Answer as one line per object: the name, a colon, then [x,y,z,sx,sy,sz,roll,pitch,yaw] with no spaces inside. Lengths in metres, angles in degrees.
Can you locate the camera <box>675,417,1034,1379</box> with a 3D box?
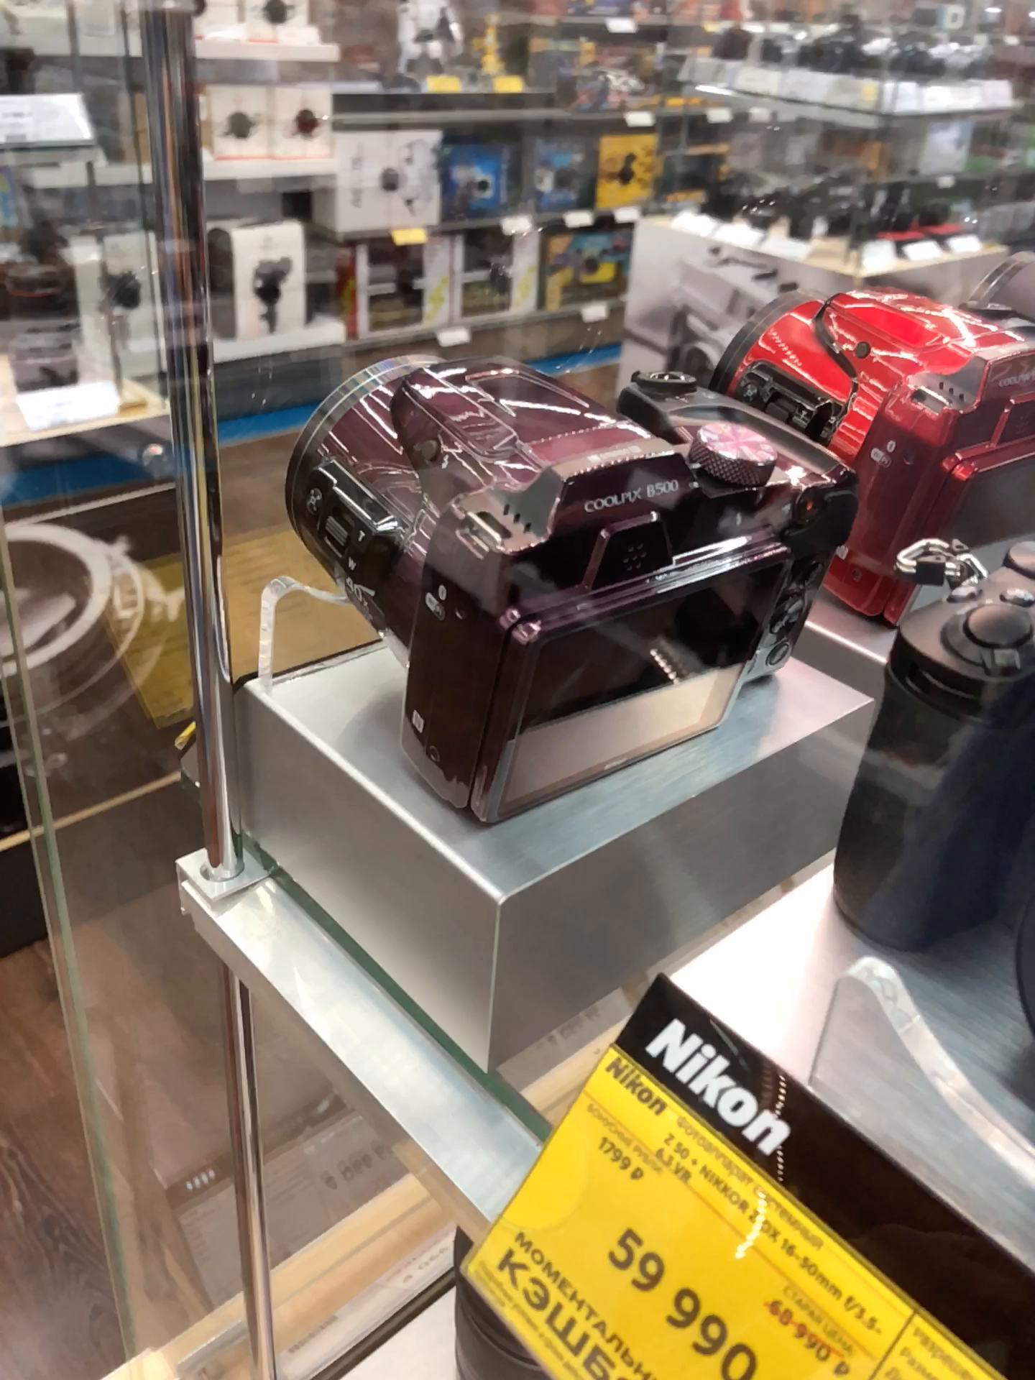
camera: [0.113,0.025,0.183,0.100,0.084,0.134,-20,39,-33]

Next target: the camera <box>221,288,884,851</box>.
camera: [0.005,-0.039,0.276,0.110,0.080,0.100,-20,39,-34]
